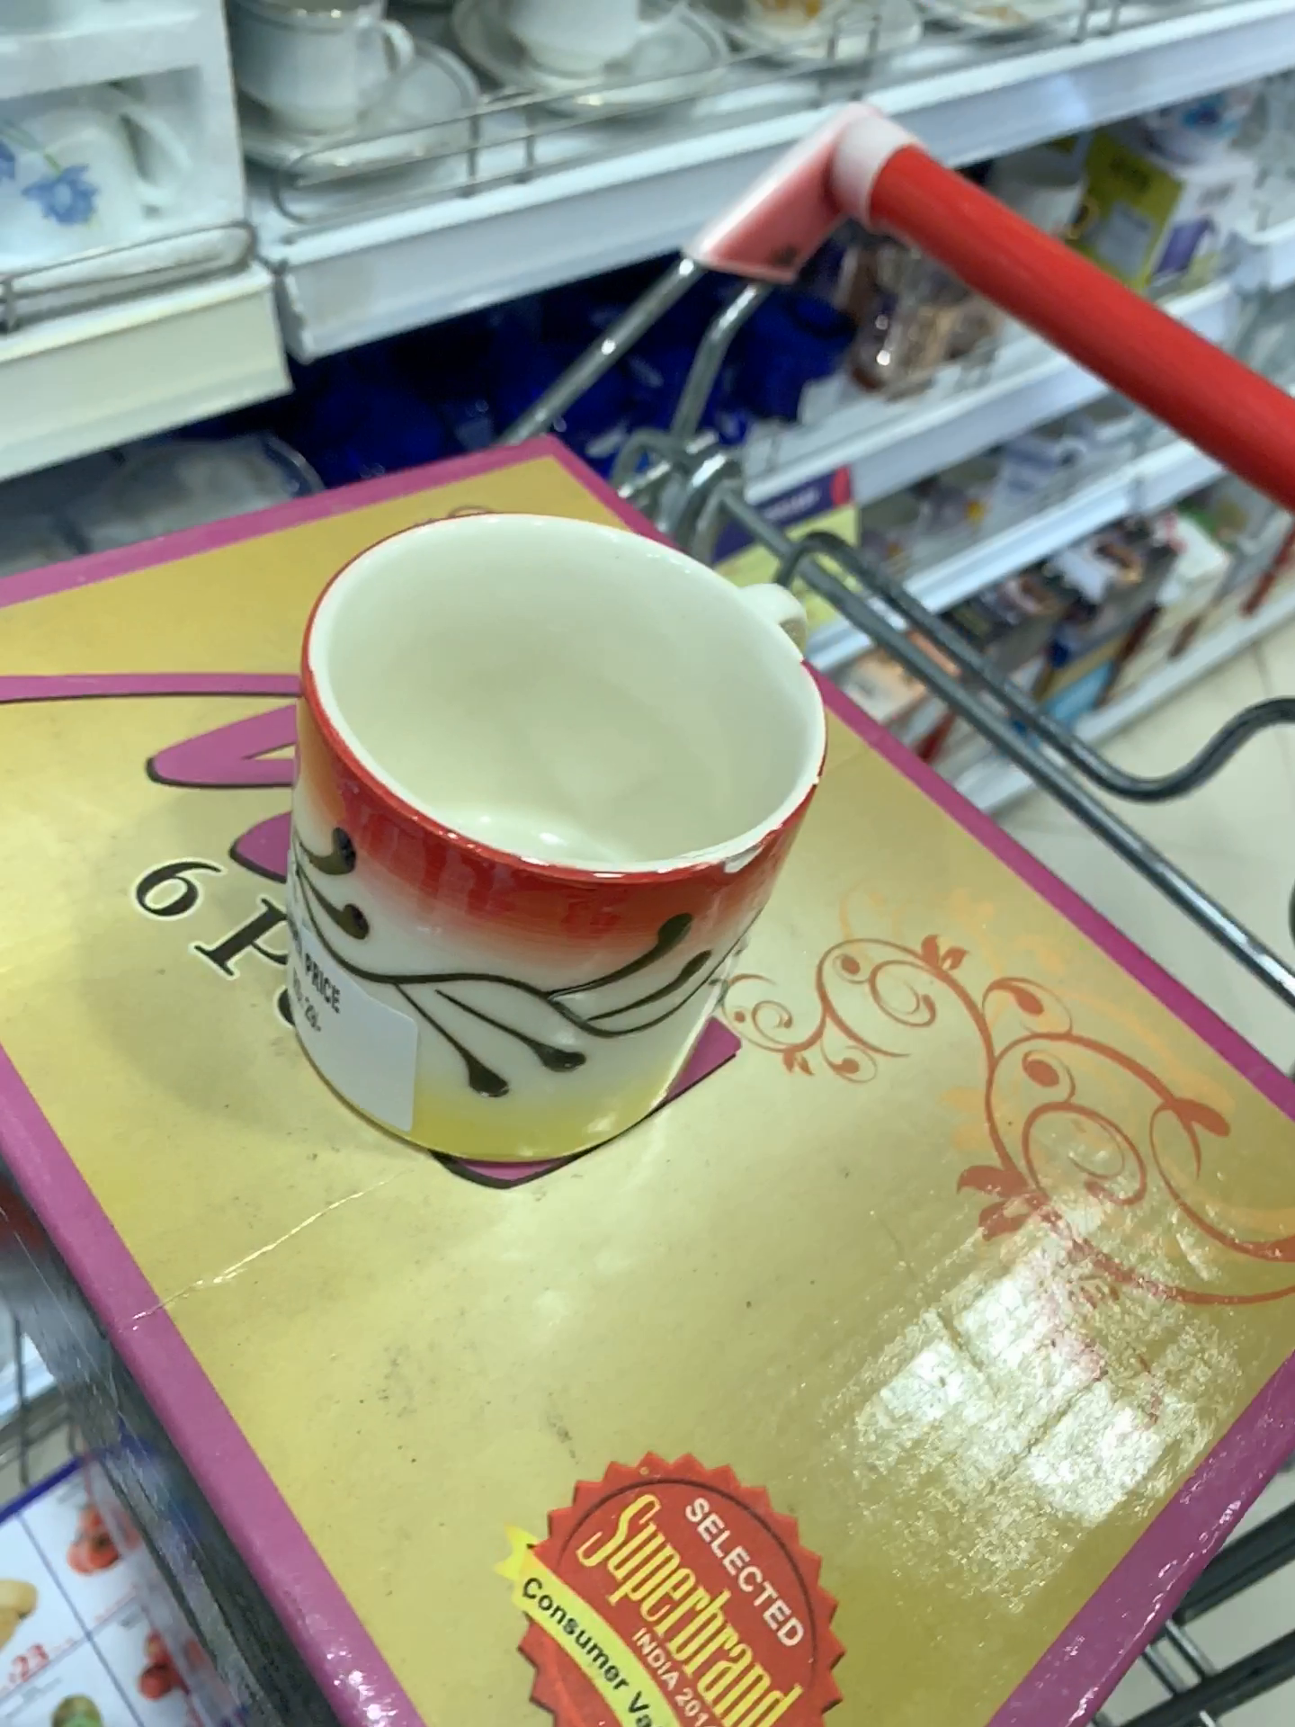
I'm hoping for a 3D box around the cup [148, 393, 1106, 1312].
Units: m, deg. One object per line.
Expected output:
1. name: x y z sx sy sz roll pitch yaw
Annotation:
1. cup: -0.004 -0.009 0.209 0.080 0.070 0.110 41 50 20
